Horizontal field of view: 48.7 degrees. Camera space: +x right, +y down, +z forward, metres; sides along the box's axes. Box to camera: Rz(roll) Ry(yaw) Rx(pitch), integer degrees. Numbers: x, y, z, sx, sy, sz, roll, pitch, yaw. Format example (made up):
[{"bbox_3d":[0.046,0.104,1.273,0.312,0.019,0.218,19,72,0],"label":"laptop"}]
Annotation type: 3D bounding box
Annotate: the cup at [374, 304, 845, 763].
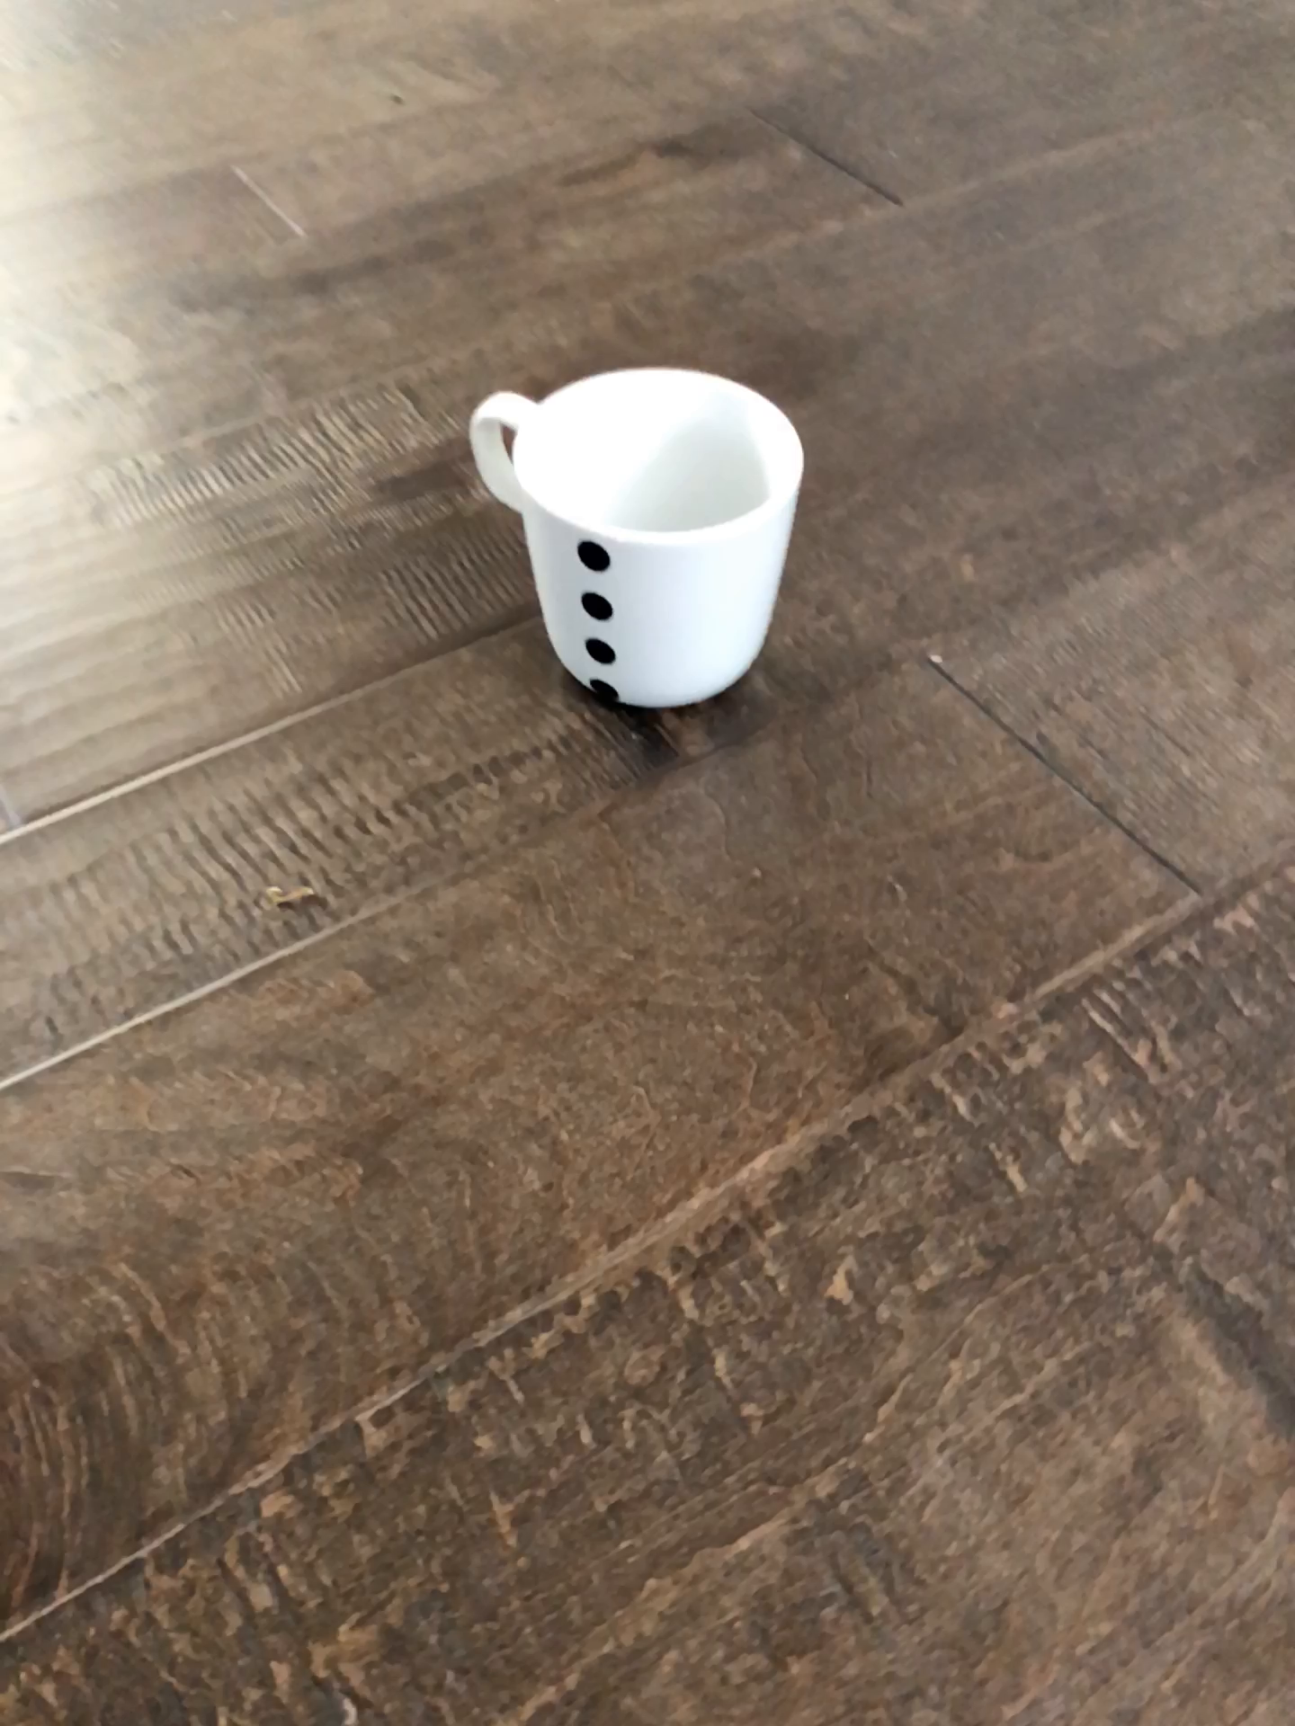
[{"bbox_3d":[-0.010,-0.106,0.454,0.110,0.079,0.091,21,52,17],"label":"cup"}]
